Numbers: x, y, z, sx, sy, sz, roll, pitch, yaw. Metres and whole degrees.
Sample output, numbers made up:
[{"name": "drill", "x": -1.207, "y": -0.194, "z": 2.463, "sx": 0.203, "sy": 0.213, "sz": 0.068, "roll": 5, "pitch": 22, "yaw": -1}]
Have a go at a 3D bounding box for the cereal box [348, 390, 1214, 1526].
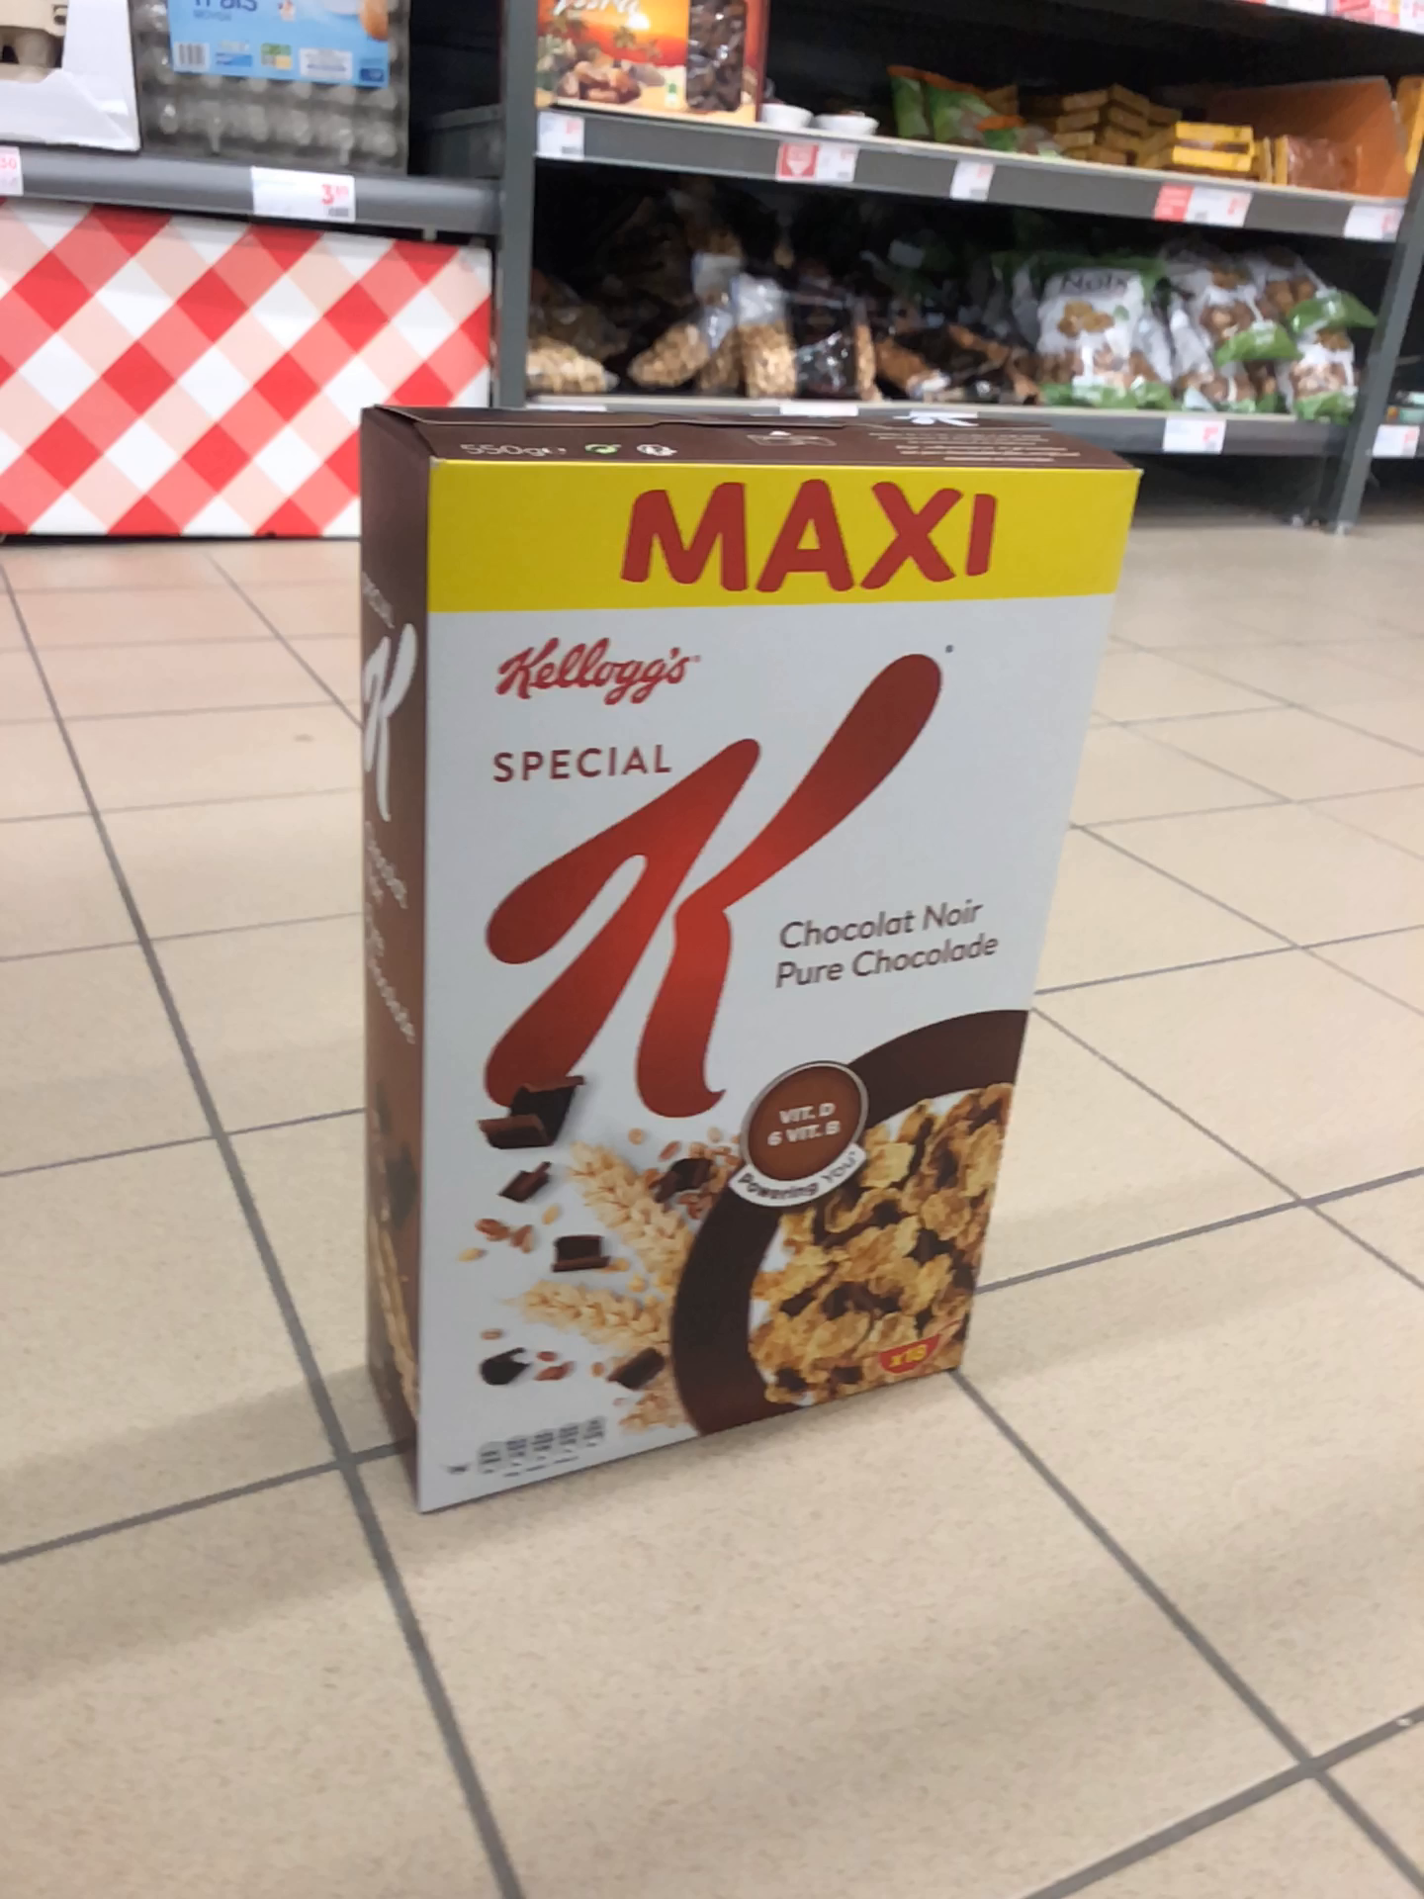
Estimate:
[{"name": "cereal box", "x": 0.009, "y": 0.003, "z": 0.457, "sx": 0.211, "sy": 0.298, "sz": 0.070, "roll": -7, "pitch": 28, "yaw": -26}]
